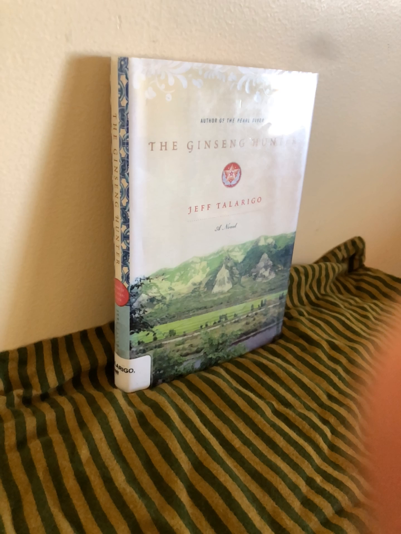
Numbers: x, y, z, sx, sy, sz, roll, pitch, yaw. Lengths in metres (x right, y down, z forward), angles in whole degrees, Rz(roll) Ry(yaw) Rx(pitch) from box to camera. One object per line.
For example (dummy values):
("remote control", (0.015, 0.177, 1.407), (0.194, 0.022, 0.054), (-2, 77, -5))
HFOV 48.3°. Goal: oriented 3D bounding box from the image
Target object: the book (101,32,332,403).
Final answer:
("book", (0.008, -0.026, 0.286), (0.137, 0.203, 0.029), (-13, 31, -39))
